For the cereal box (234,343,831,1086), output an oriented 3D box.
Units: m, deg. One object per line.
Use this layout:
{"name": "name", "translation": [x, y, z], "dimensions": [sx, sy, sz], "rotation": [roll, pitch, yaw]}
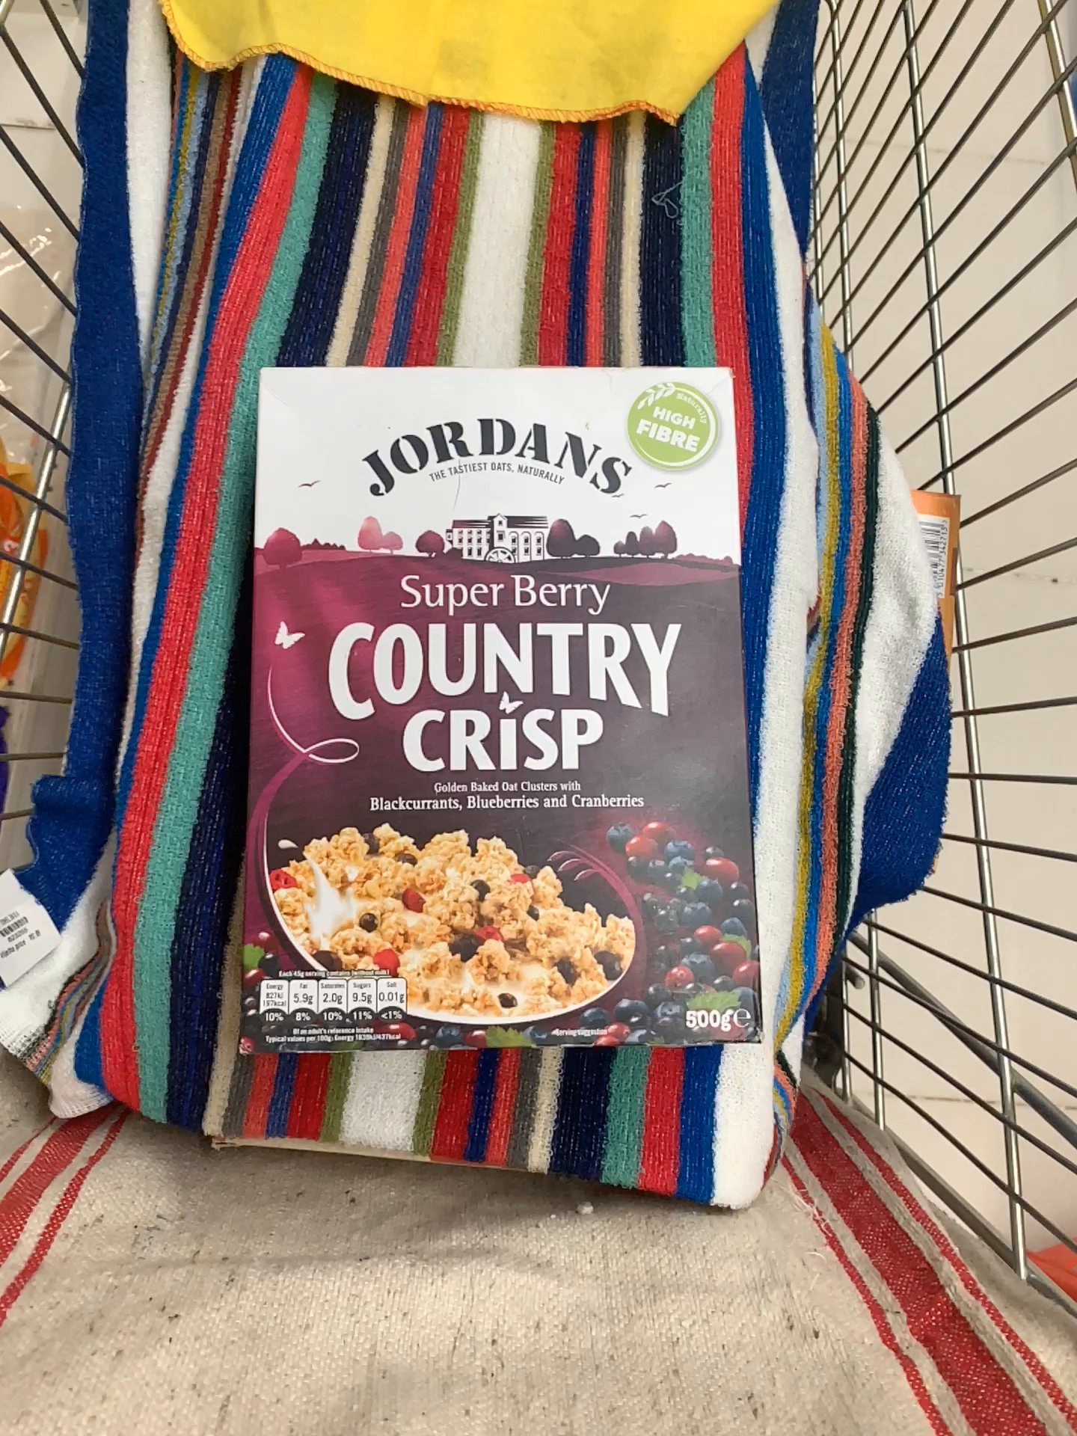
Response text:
{"name": "cereal box", "translation": [-0.004, -0.003, 0.385], "dimensions": [0.180, 0.060, 0.240], "rotation": [-1, 79, 0]}
